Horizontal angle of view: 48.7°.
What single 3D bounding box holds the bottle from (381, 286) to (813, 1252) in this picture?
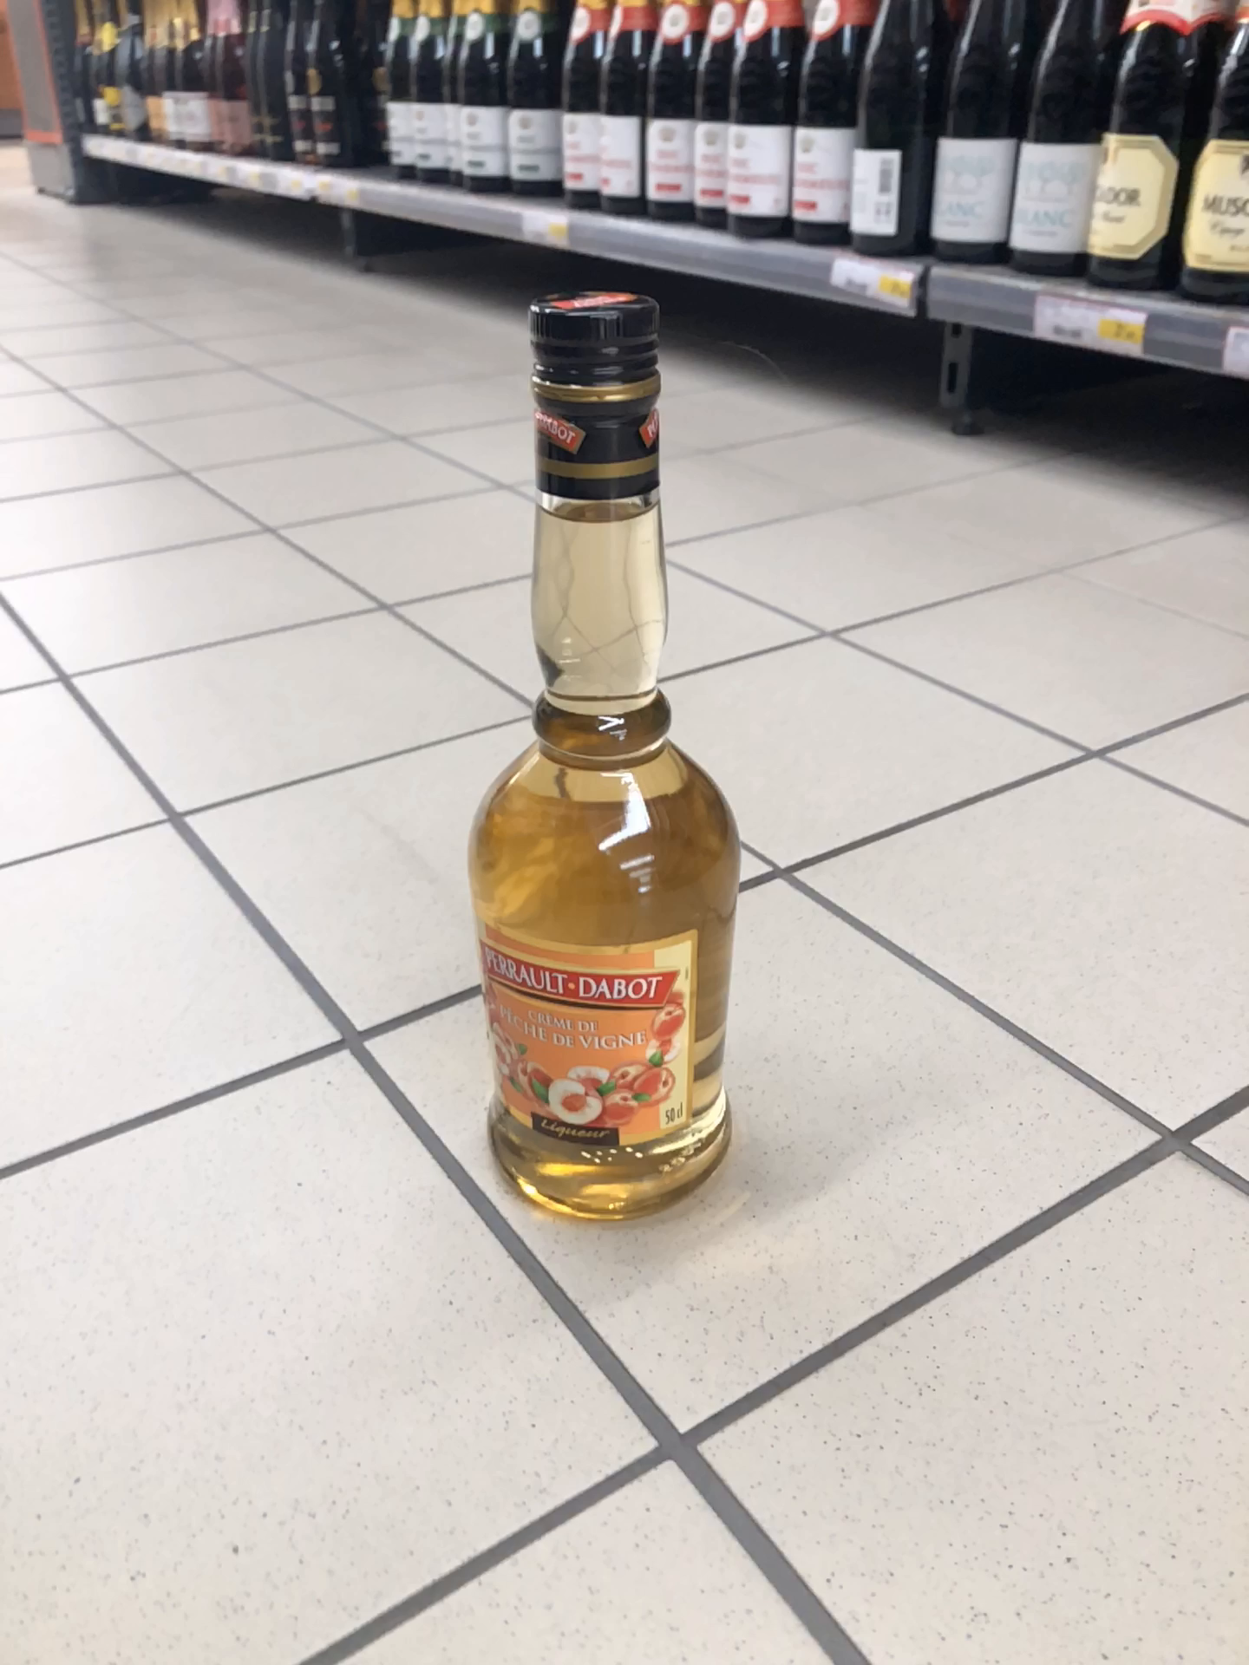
[{"bbox_3d":[-0.002,-0.013,0.384,0.080,0.249,0.081,0,28,0],"label":"bottle"}]
